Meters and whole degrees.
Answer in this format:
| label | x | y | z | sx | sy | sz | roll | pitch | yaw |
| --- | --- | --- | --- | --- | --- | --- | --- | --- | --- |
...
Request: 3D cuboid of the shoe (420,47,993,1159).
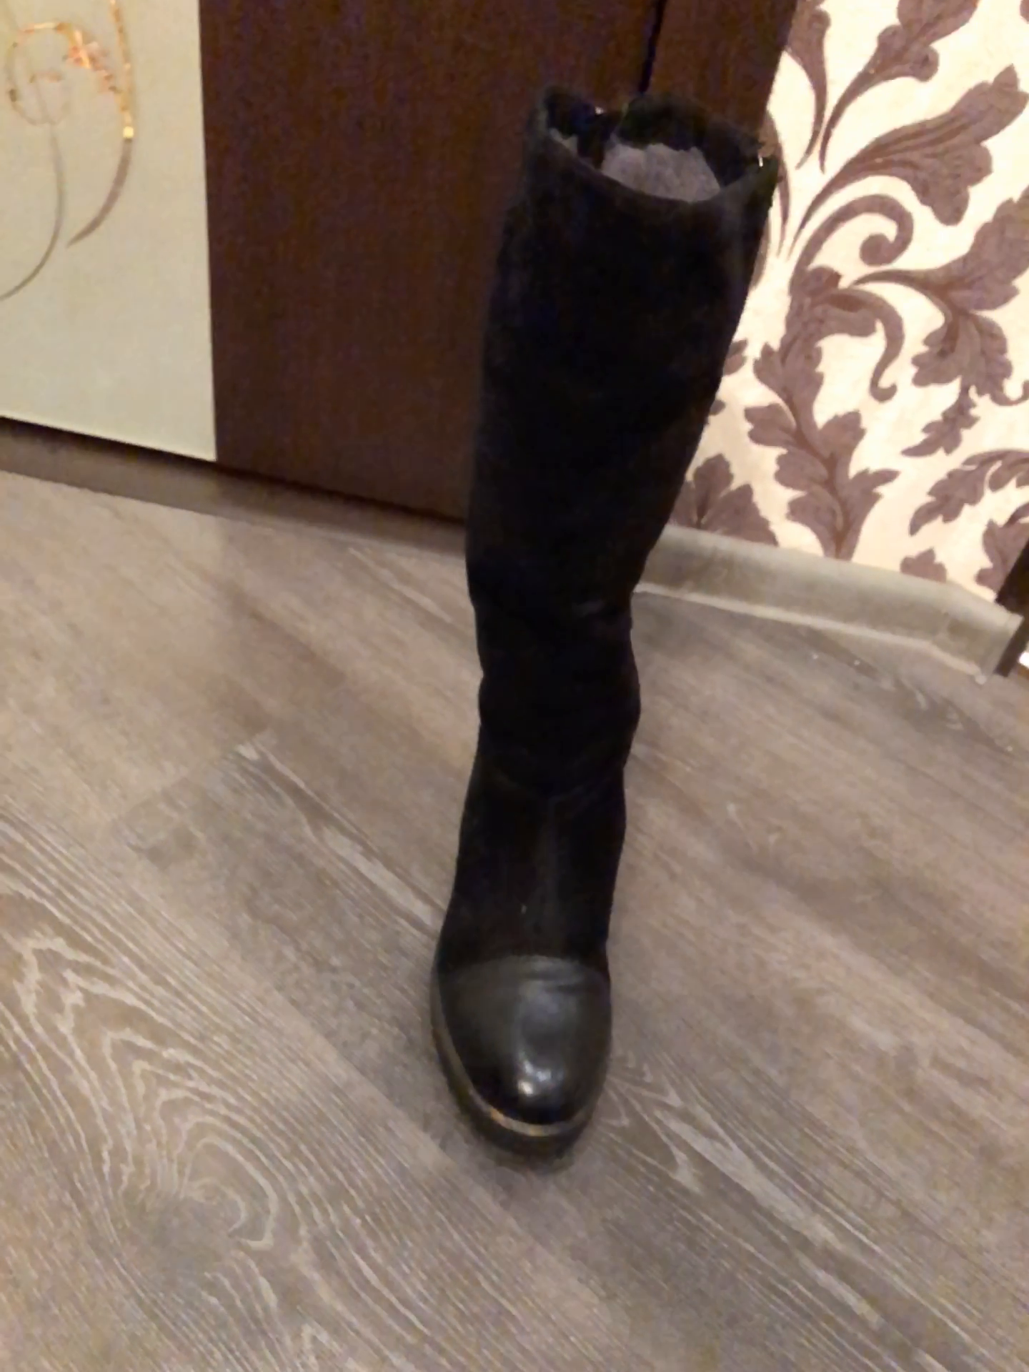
| label | x | y | z | sx | sy | sz | roll | pitch | yaw |
| --- | --- | --- | --- | --- | --- | --- | --- | --- | --- |
| shoe | 0.030 | -0.009 | 0.494 | 0.100 | 0.407 | 0.252 | 5 | 43 | -7 |
